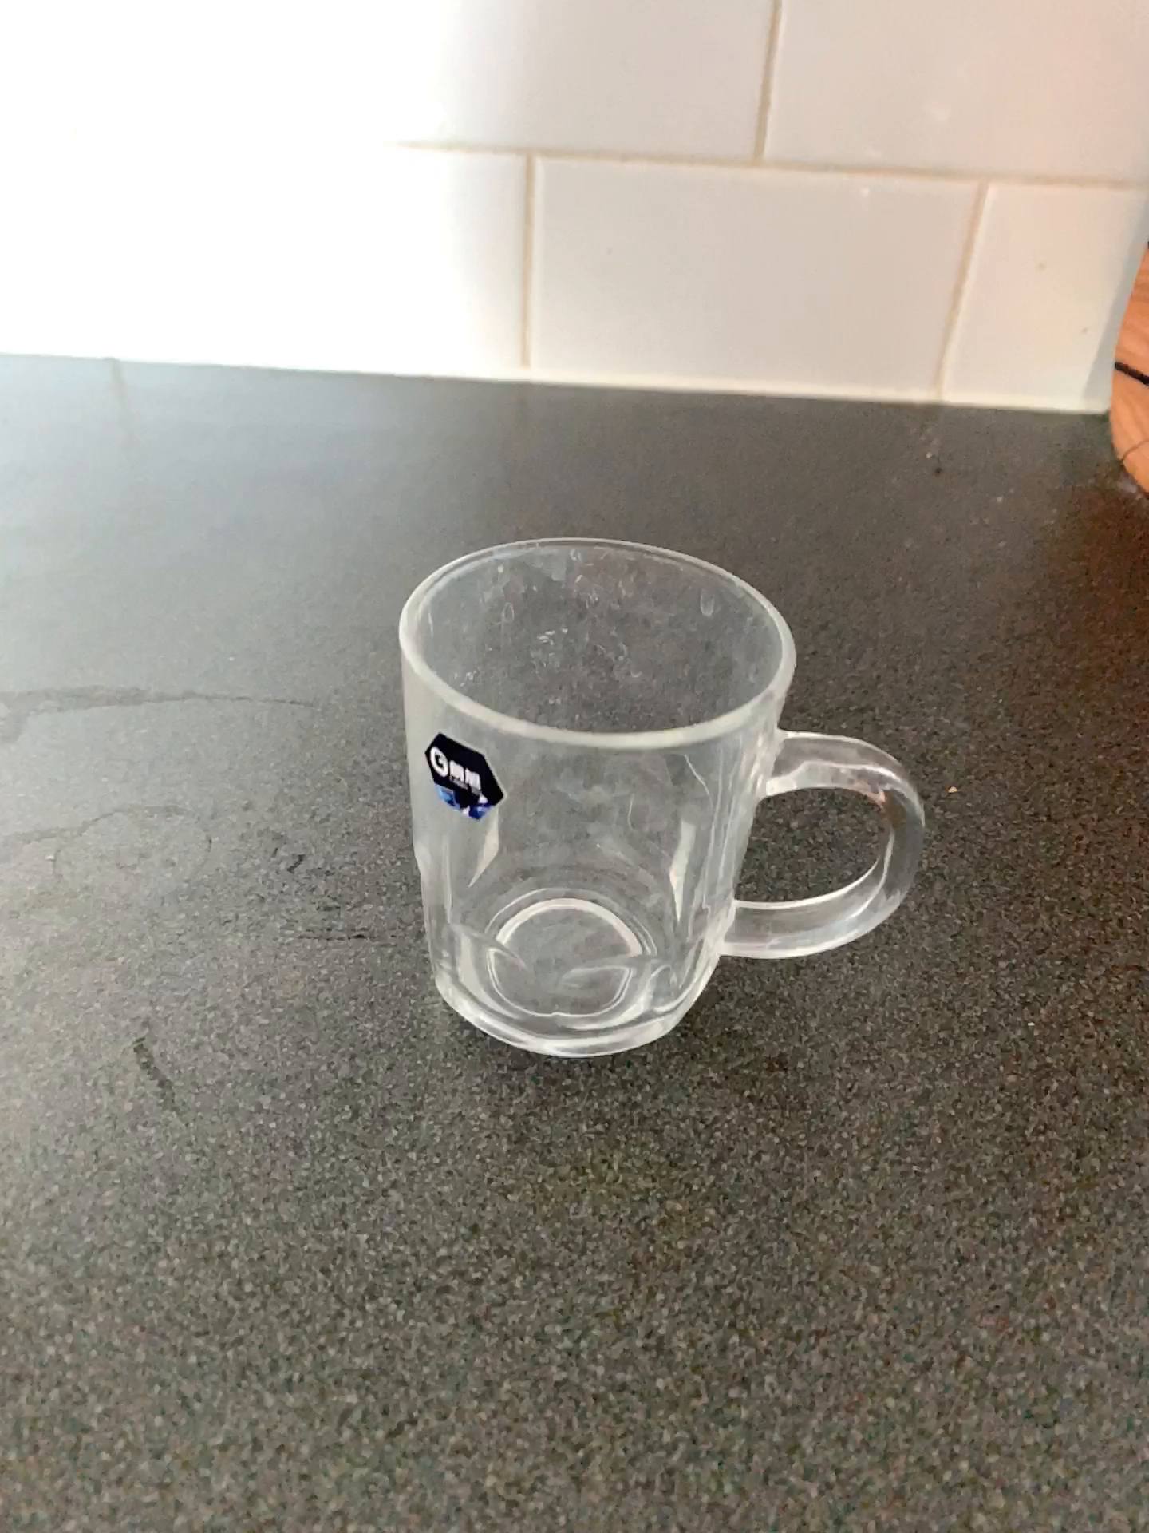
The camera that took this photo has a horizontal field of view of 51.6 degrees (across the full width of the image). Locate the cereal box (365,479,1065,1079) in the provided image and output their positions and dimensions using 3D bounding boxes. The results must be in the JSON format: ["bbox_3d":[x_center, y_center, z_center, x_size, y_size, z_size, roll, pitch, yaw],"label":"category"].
[{"bbox_3d":[0.020,0.002,0.244,0.110,0.089,0.081,2,36,-3],"label":"cereal box"}]
